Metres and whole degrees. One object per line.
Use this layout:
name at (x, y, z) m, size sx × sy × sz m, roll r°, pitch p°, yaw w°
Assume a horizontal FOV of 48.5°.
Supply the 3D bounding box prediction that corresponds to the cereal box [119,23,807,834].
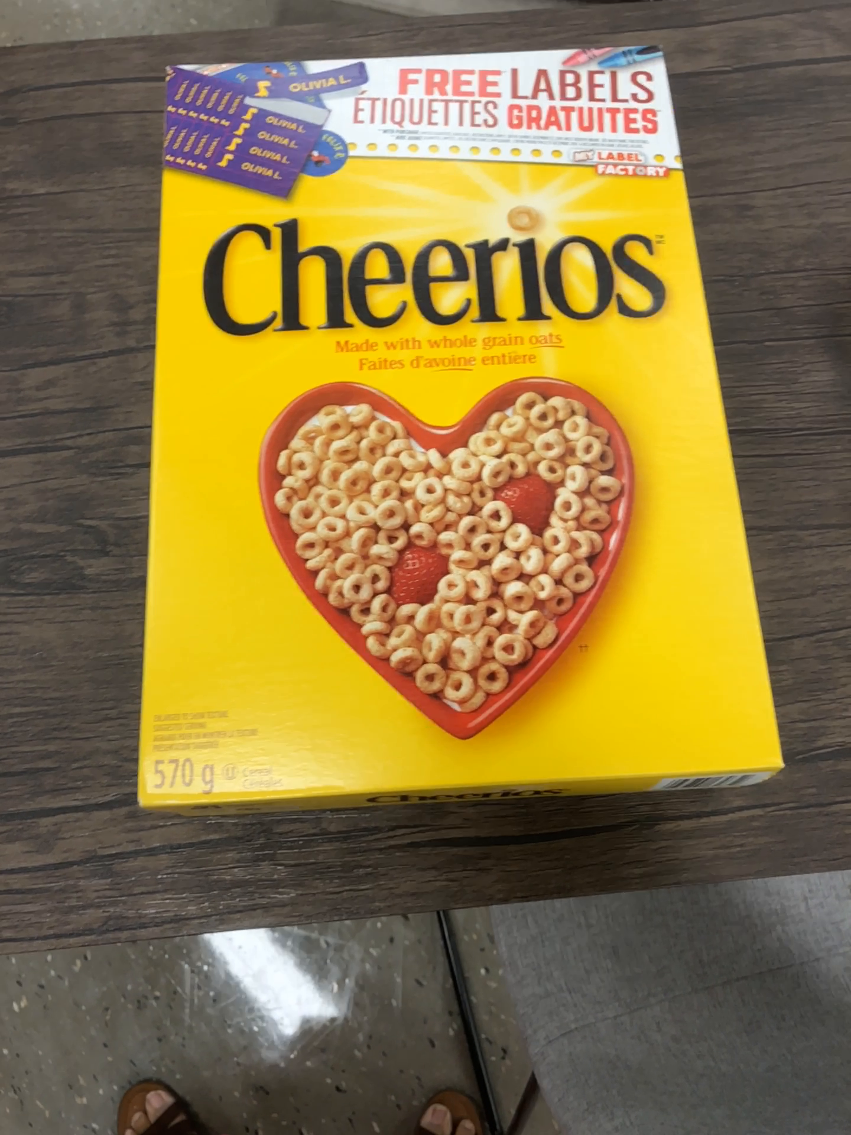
cereal box at (0.002, -0.066, 0.427) m, size 0.240 × 0.100 × 0.340 m, roll -4°, pitch 72°, yaw -1°
